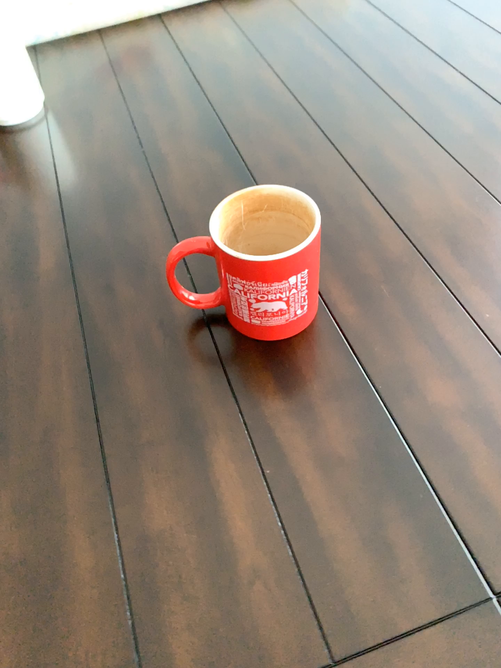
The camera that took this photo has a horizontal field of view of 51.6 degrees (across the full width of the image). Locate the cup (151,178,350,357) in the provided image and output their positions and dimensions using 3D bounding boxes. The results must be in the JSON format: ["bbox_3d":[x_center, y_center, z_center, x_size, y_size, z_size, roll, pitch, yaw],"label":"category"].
[{"bbox_3d":[-0.002,-0.055,0.424,0.140,0.080,0.100,-8,51,0],"label":"cup"}]
